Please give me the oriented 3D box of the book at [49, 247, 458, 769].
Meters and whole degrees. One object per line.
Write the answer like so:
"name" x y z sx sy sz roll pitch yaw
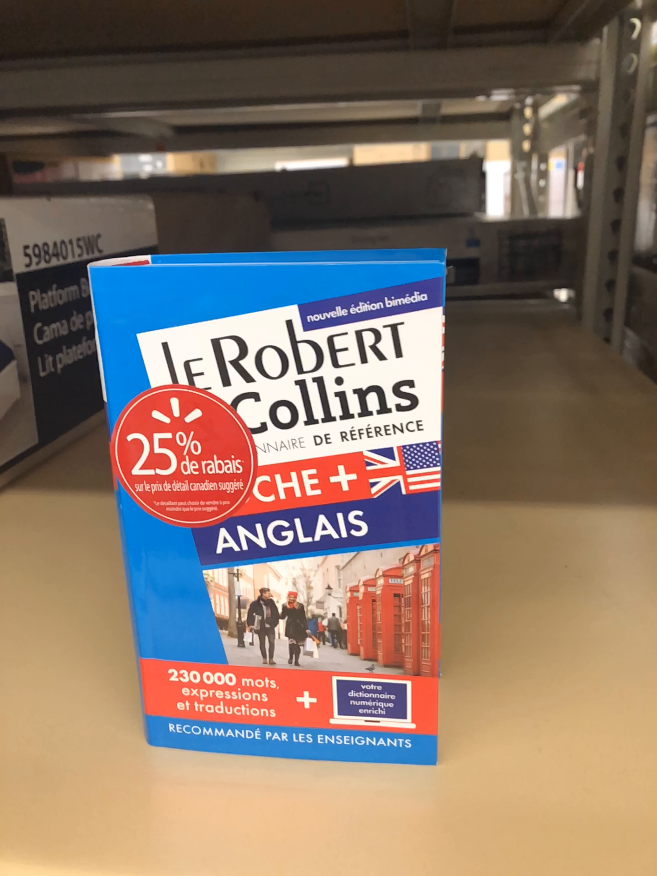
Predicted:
"book" -0.018 0.024 0.265 0.120 0.173 0.059 1 19 8
